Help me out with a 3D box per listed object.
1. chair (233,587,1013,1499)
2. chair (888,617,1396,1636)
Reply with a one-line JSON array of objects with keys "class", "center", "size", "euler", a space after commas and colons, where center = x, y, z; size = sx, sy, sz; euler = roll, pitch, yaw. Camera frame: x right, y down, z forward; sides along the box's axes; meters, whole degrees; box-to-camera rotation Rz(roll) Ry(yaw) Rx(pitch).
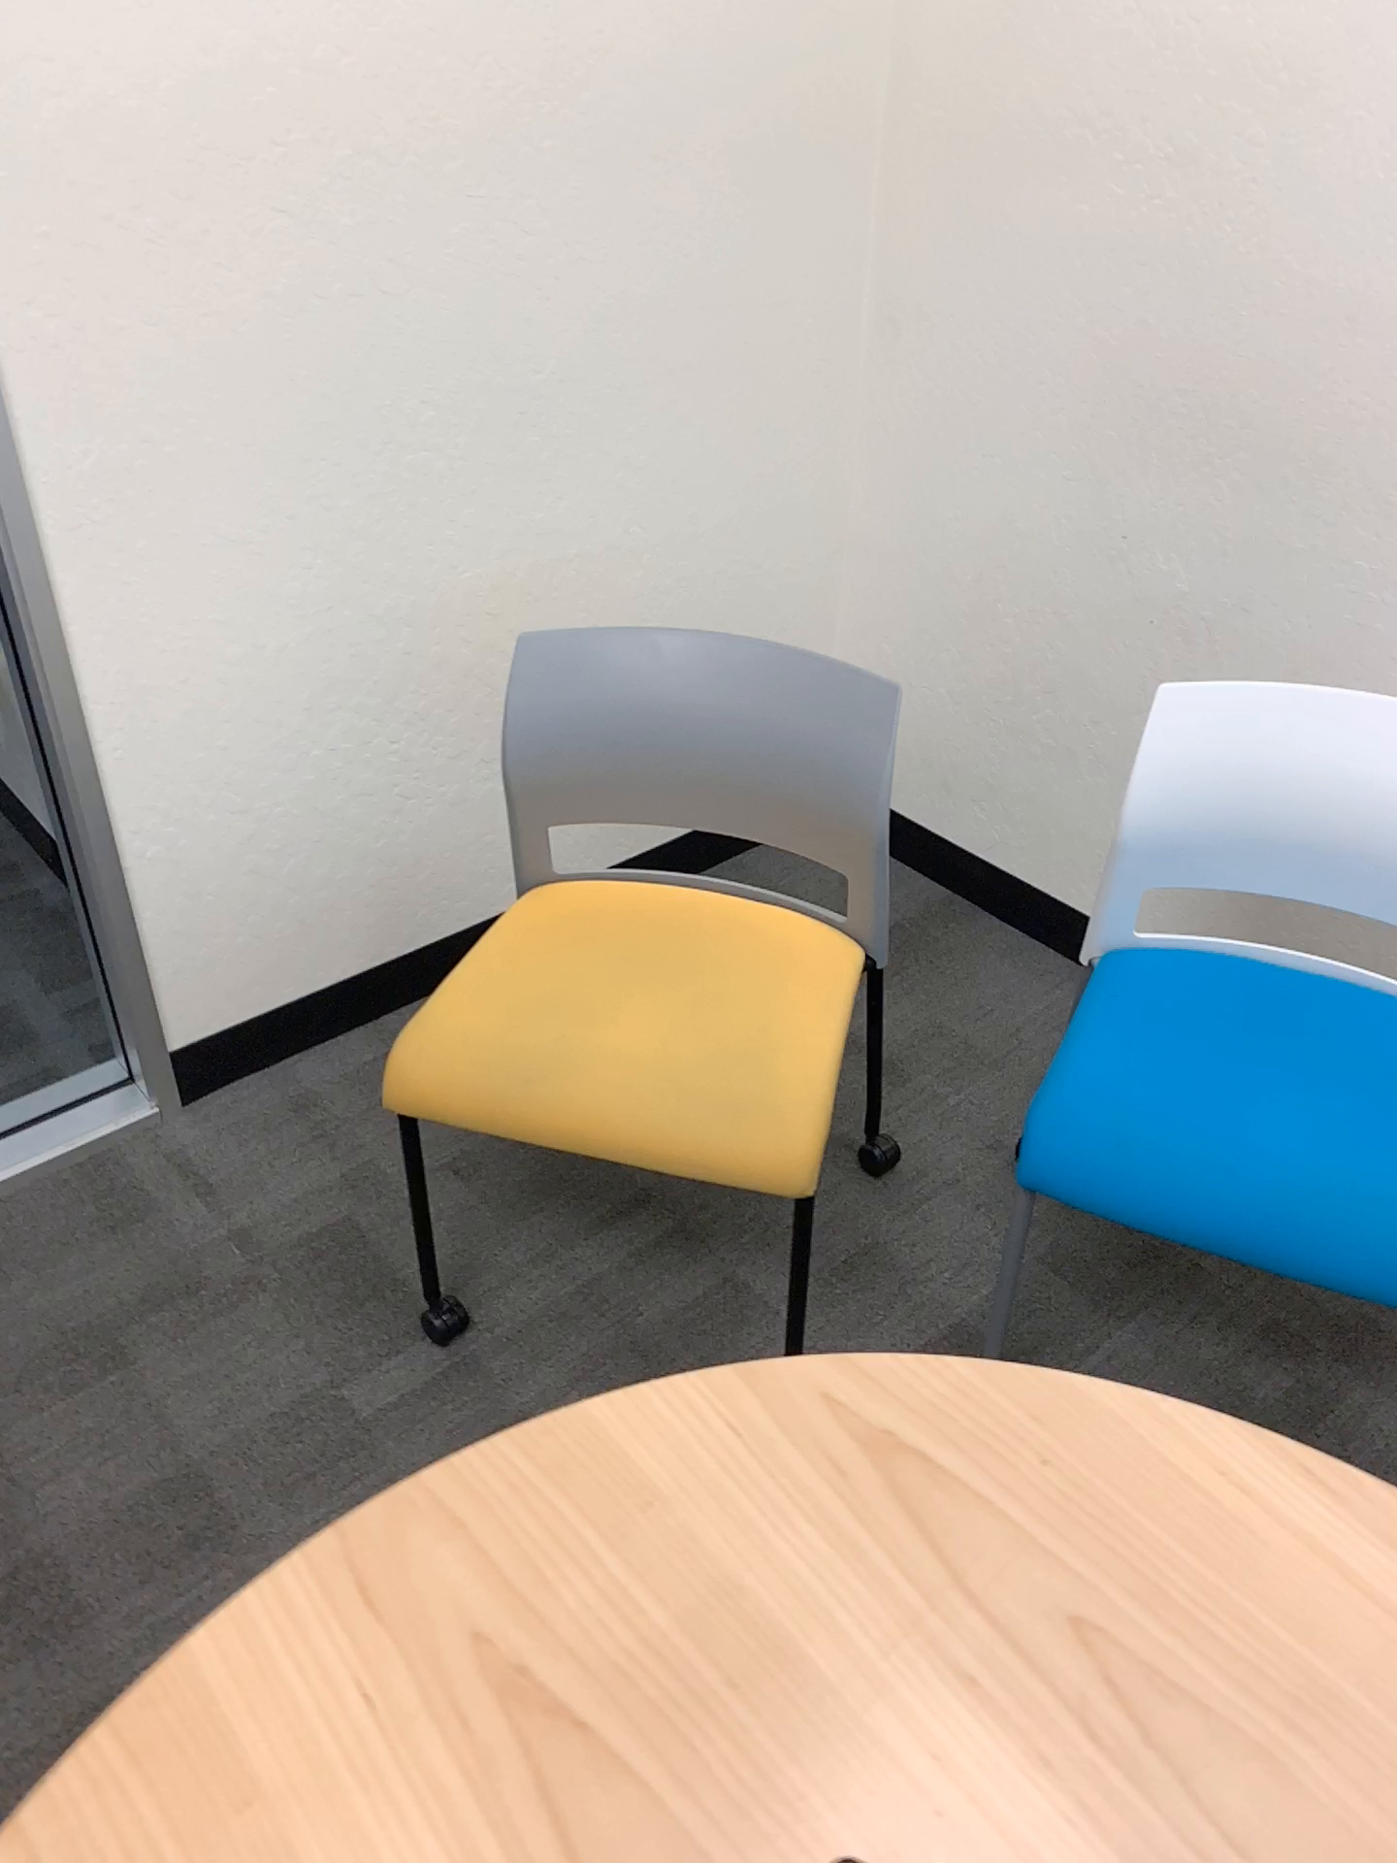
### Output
[{"class": "chair", "center": [-0.031, 0.091, 1.720], "size": [0.641, 0.716, 0.694], "euler": [11, 37, 13]}, {"class": "chair", "center": [0.670, 0.174, 1.648], "size": [0.641, 0.755, 0.693], "euler": [16, 38, 19]}]
